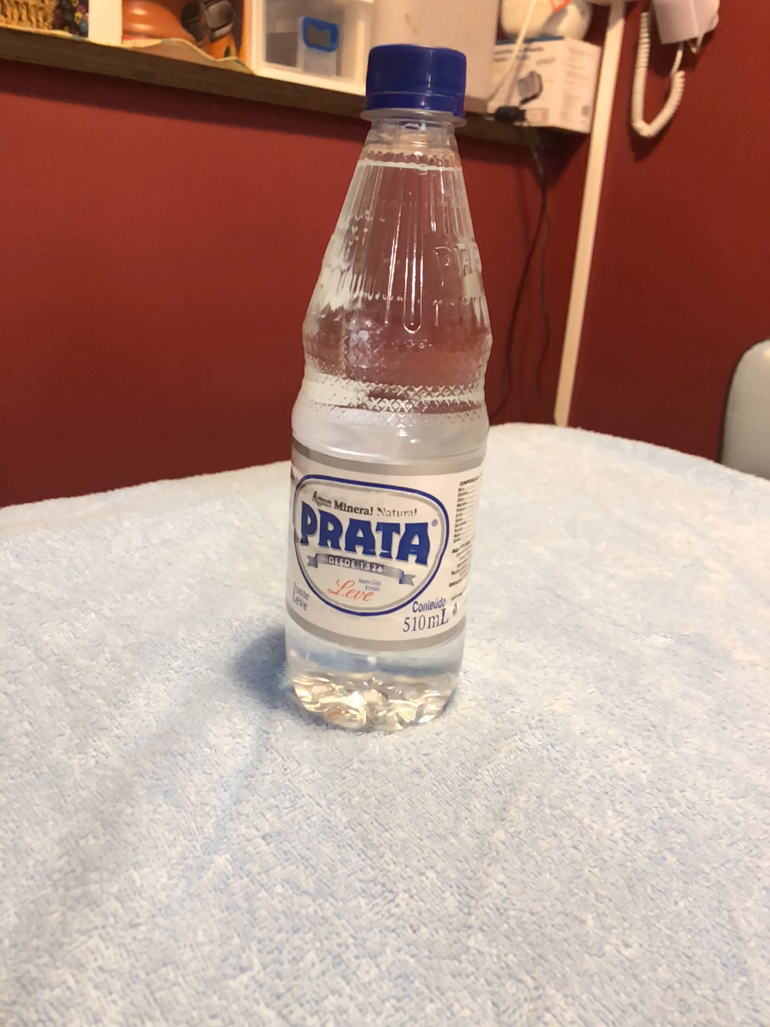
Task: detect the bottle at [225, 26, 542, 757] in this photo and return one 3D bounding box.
[{"bbox_3d":[-0.003,-0.037,0.297,0.080,0.219,0.070,8,19,12],"label":"bottle"}]
